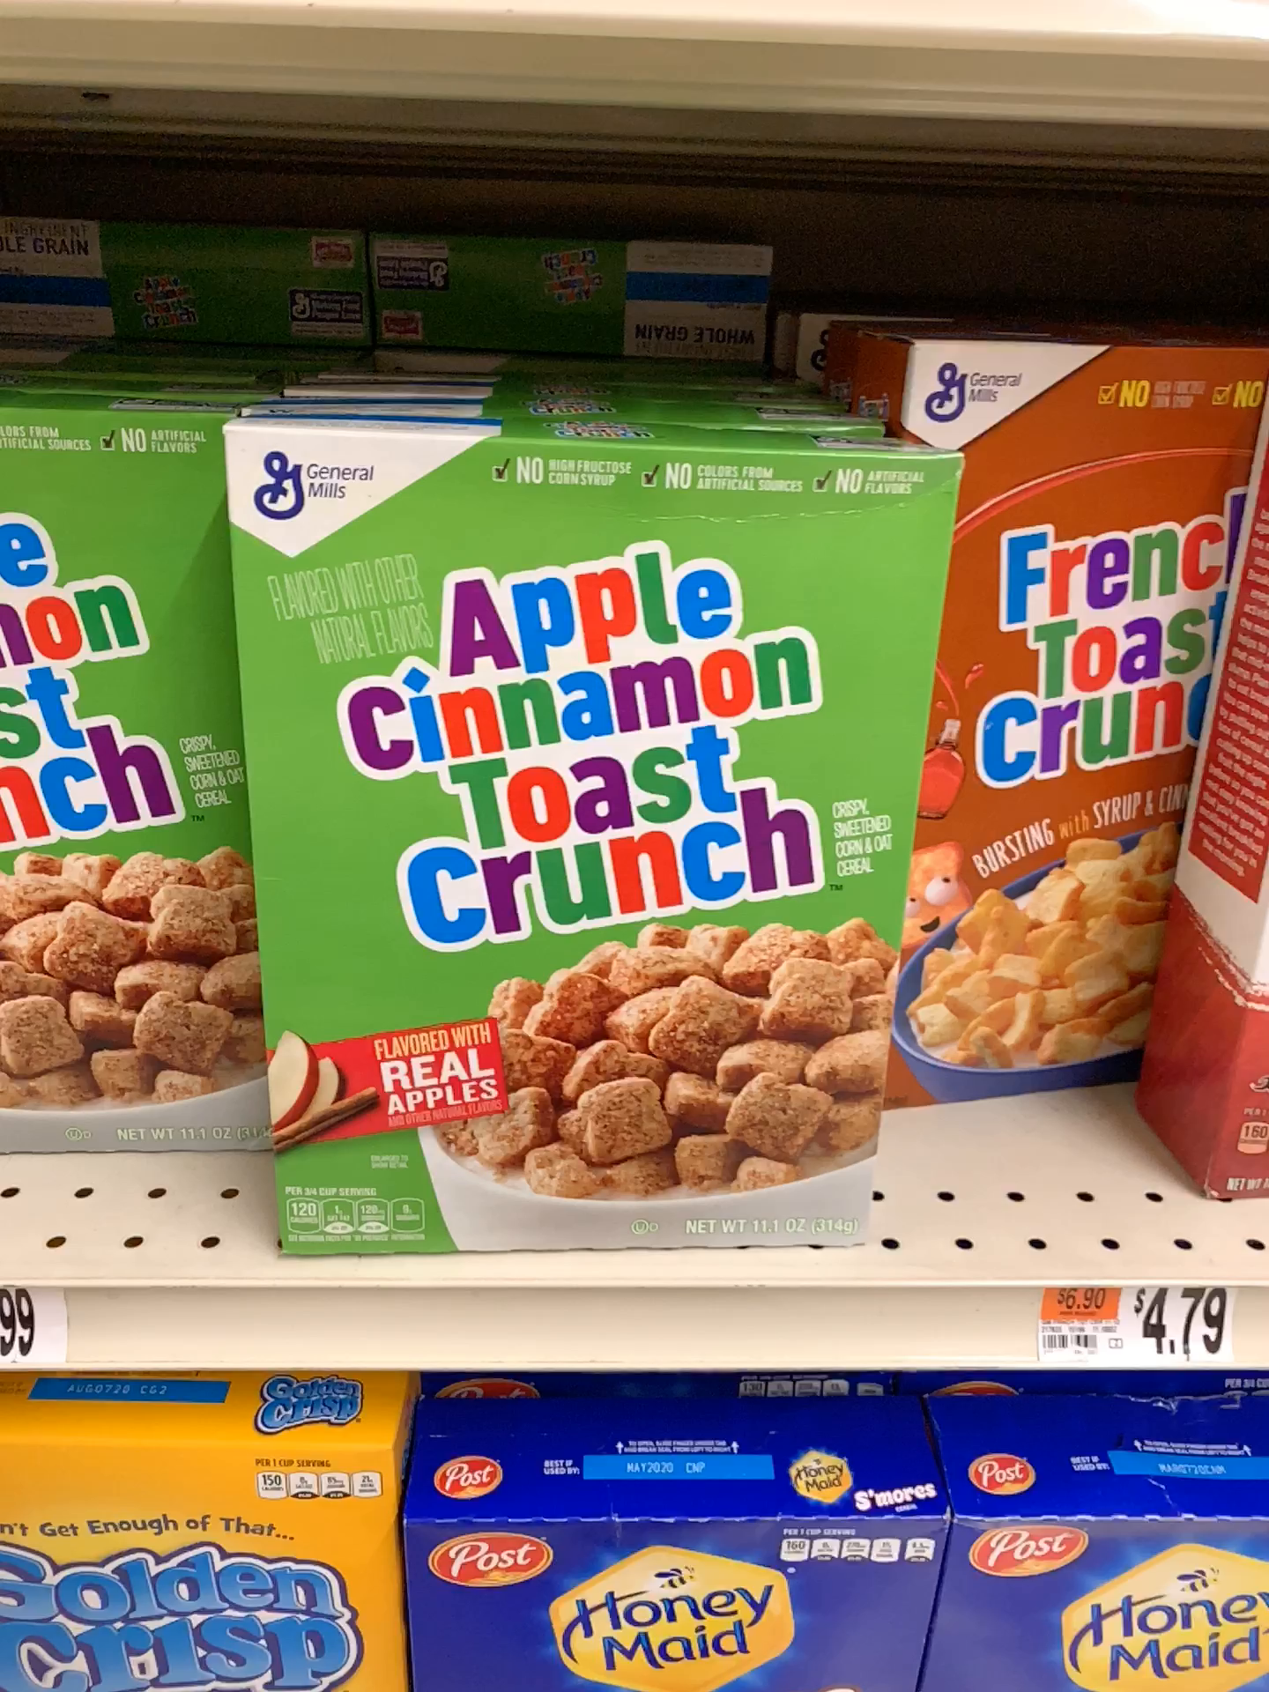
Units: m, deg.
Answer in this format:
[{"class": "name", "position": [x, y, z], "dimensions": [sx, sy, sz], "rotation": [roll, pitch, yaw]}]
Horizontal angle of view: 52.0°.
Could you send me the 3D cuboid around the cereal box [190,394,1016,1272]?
[{"class": "cereal box", "position": [-0.015, 0.007, 0.412], "dimensions": [0.210, 0.269, 0.060], "rotation": [1, 24, -6]}]
